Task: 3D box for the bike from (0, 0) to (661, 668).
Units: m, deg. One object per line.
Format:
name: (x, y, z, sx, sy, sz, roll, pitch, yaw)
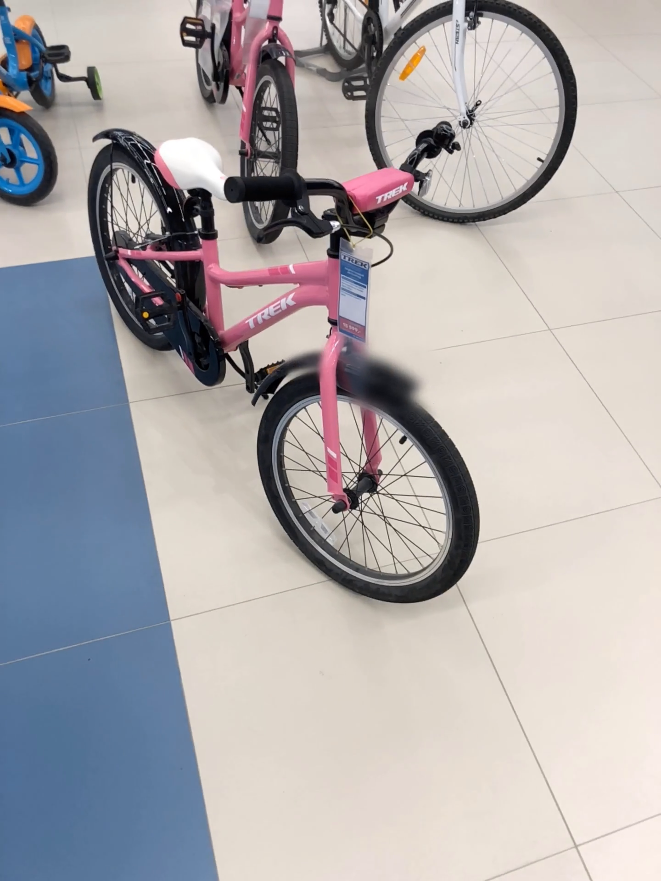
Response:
bike: (-0.148, -0.367, 1.383, 0.557, 0.835, 1.299, -31, 55, -28)
